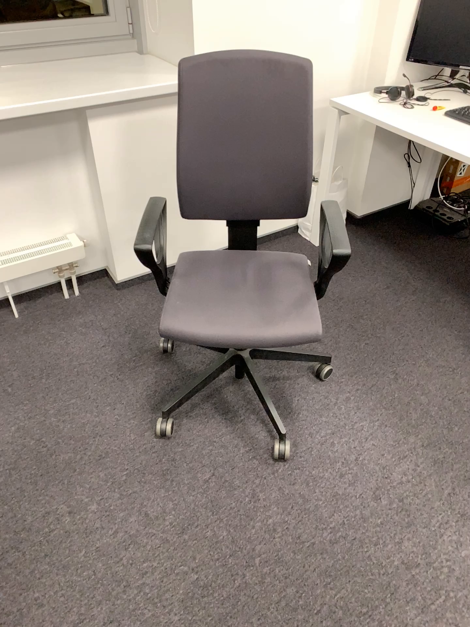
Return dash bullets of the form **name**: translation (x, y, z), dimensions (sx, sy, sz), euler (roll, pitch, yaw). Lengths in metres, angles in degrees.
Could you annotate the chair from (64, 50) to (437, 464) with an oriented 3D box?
- **chair**: translation (0.032, -0.165, 1.517), dimensions (0.700, 1.044, 0.754), euler (1, 39, 1)
